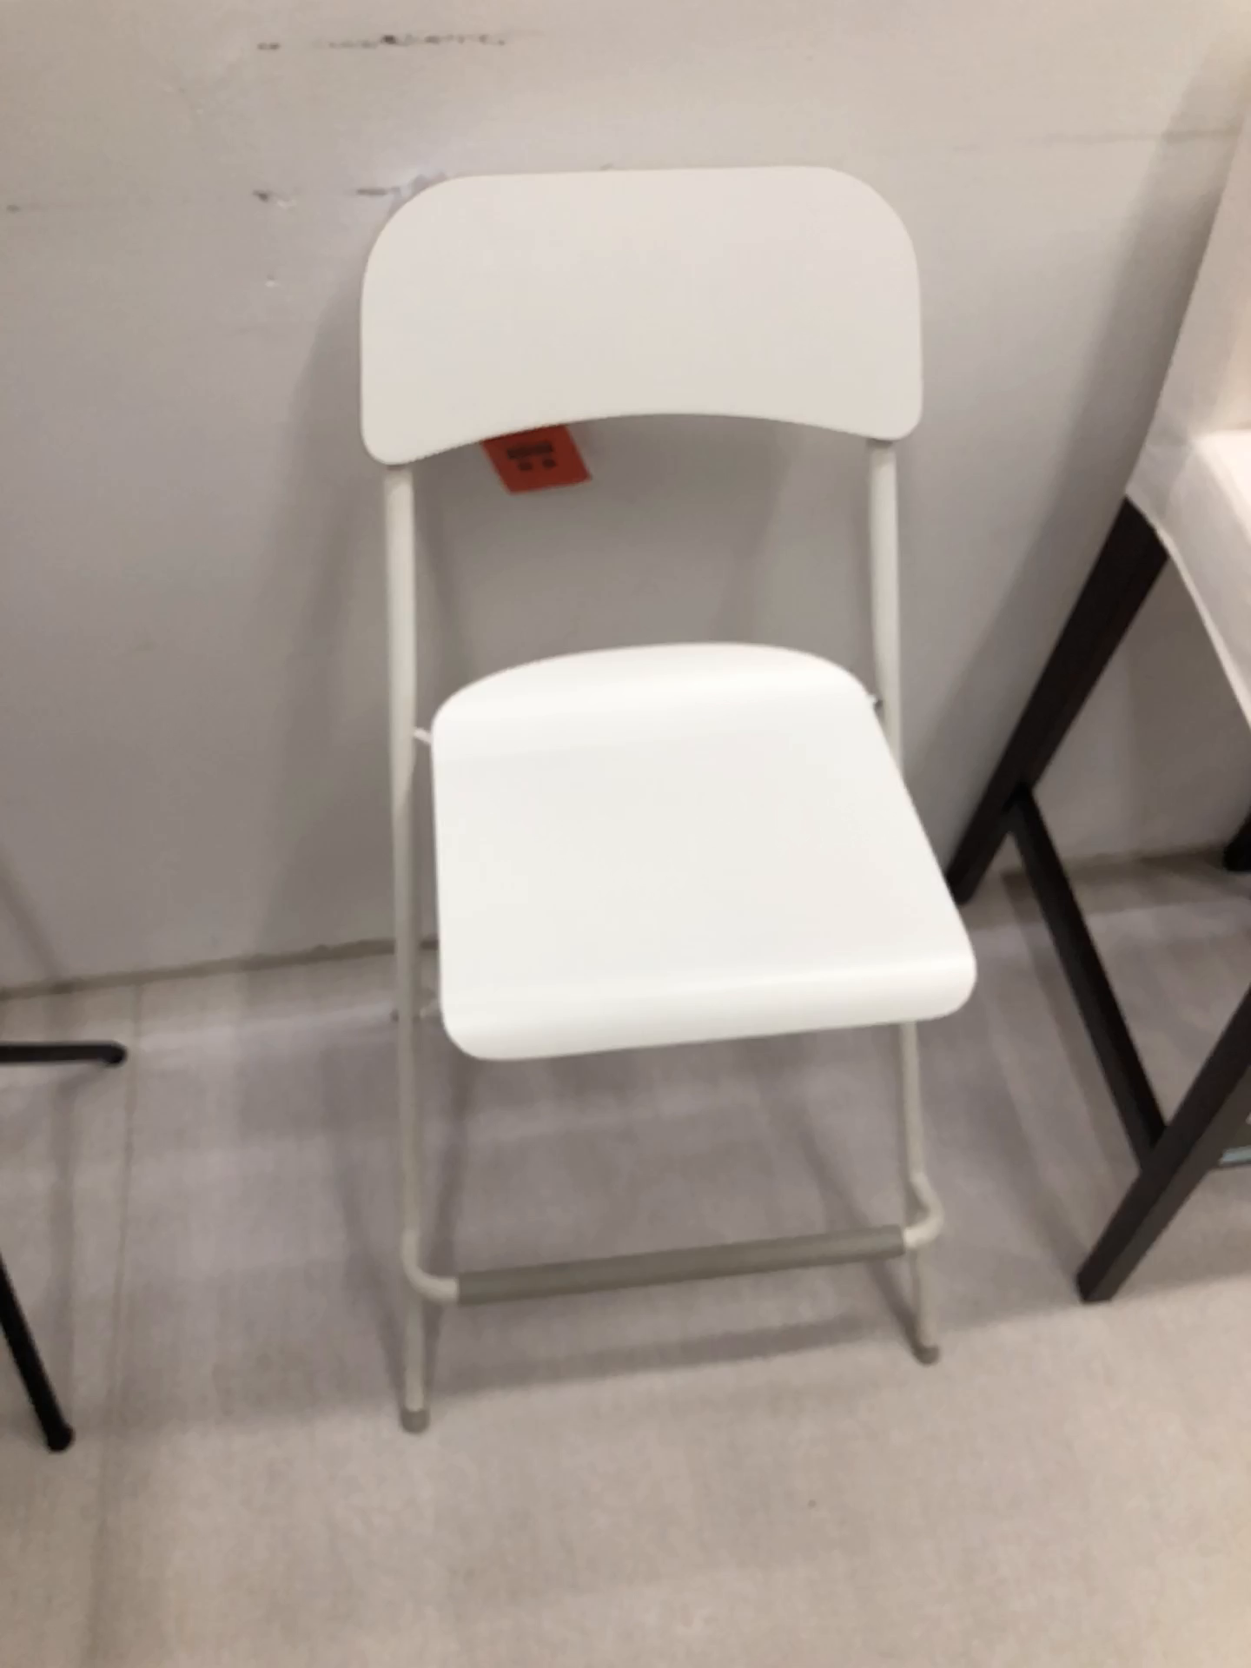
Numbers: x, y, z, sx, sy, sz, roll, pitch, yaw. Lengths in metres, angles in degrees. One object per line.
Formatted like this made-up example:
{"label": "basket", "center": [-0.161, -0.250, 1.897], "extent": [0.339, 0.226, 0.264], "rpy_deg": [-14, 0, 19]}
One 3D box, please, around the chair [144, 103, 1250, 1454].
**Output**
{"label": "chair", "center": [0.039, 0.038, 1.038], "extent": [0.530, 0.895, 0.483], "rpy_deg": [-6, 51, -6]}
